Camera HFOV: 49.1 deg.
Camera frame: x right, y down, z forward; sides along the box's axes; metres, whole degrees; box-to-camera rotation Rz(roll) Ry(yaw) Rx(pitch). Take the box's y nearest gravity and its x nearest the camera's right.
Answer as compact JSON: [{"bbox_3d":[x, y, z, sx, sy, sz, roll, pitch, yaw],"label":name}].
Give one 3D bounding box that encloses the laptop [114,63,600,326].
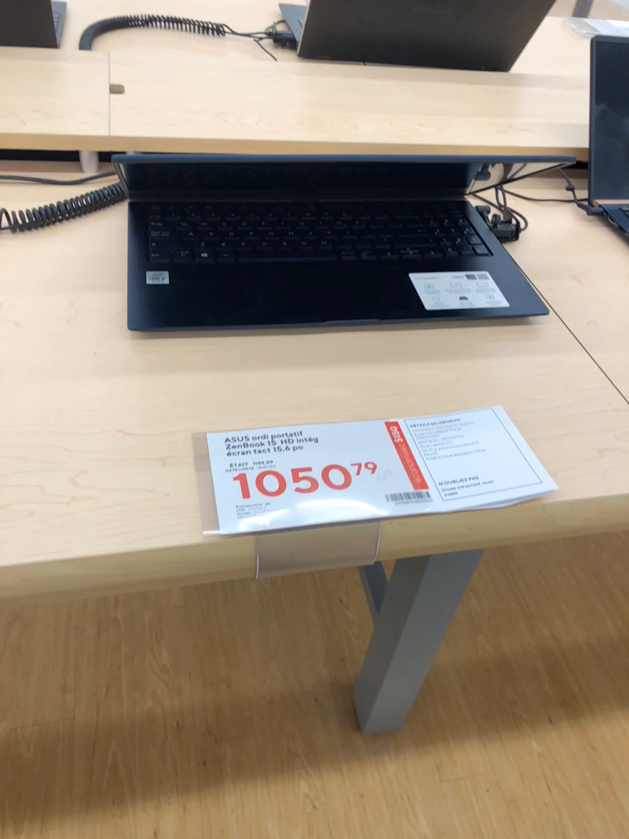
[{"bbox_3d":[0.018,-0.195,0.583,0.346,0.119,0.204,-4,45,-12],"label":"laptop"}]
